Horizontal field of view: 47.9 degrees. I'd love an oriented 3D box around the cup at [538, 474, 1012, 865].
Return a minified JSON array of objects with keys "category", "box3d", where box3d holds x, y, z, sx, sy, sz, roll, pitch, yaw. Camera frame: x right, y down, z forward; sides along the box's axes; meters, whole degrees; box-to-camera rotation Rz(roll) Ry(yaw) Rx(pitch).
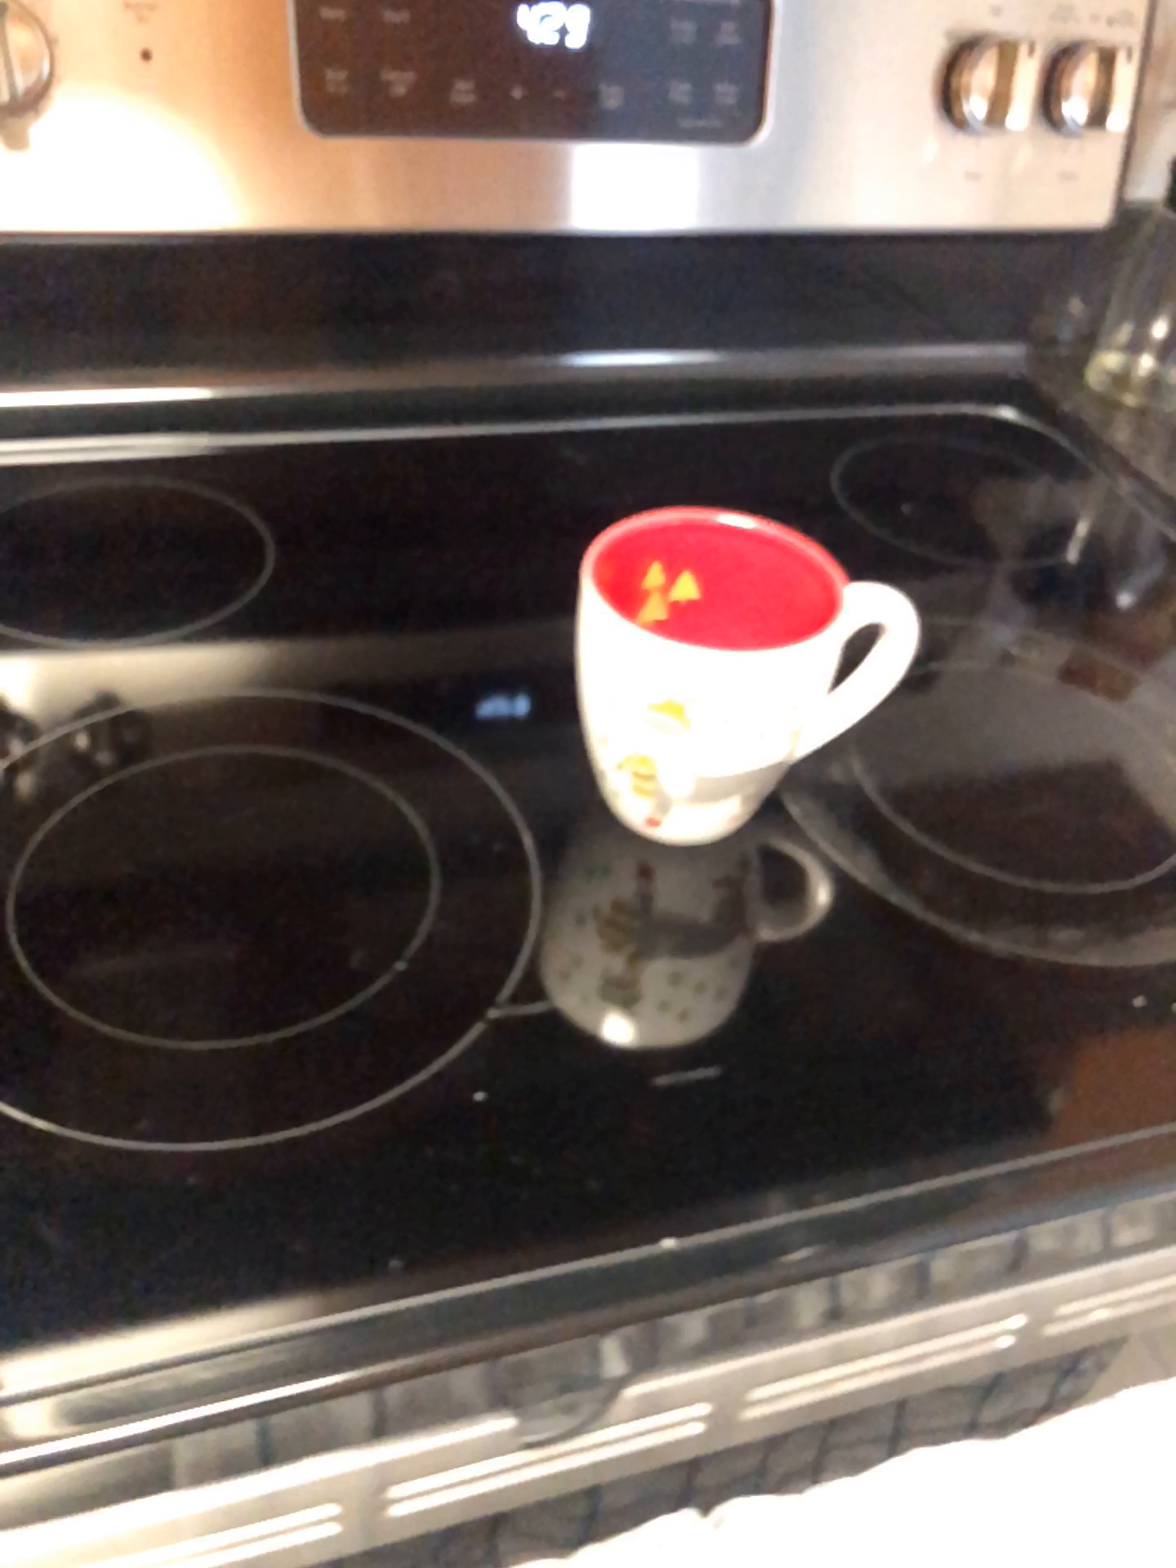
[{"category":"cup","box3d":[0.066,-0.049,0.523,0.140,0.100,0.100,-8,43,-18]}]
